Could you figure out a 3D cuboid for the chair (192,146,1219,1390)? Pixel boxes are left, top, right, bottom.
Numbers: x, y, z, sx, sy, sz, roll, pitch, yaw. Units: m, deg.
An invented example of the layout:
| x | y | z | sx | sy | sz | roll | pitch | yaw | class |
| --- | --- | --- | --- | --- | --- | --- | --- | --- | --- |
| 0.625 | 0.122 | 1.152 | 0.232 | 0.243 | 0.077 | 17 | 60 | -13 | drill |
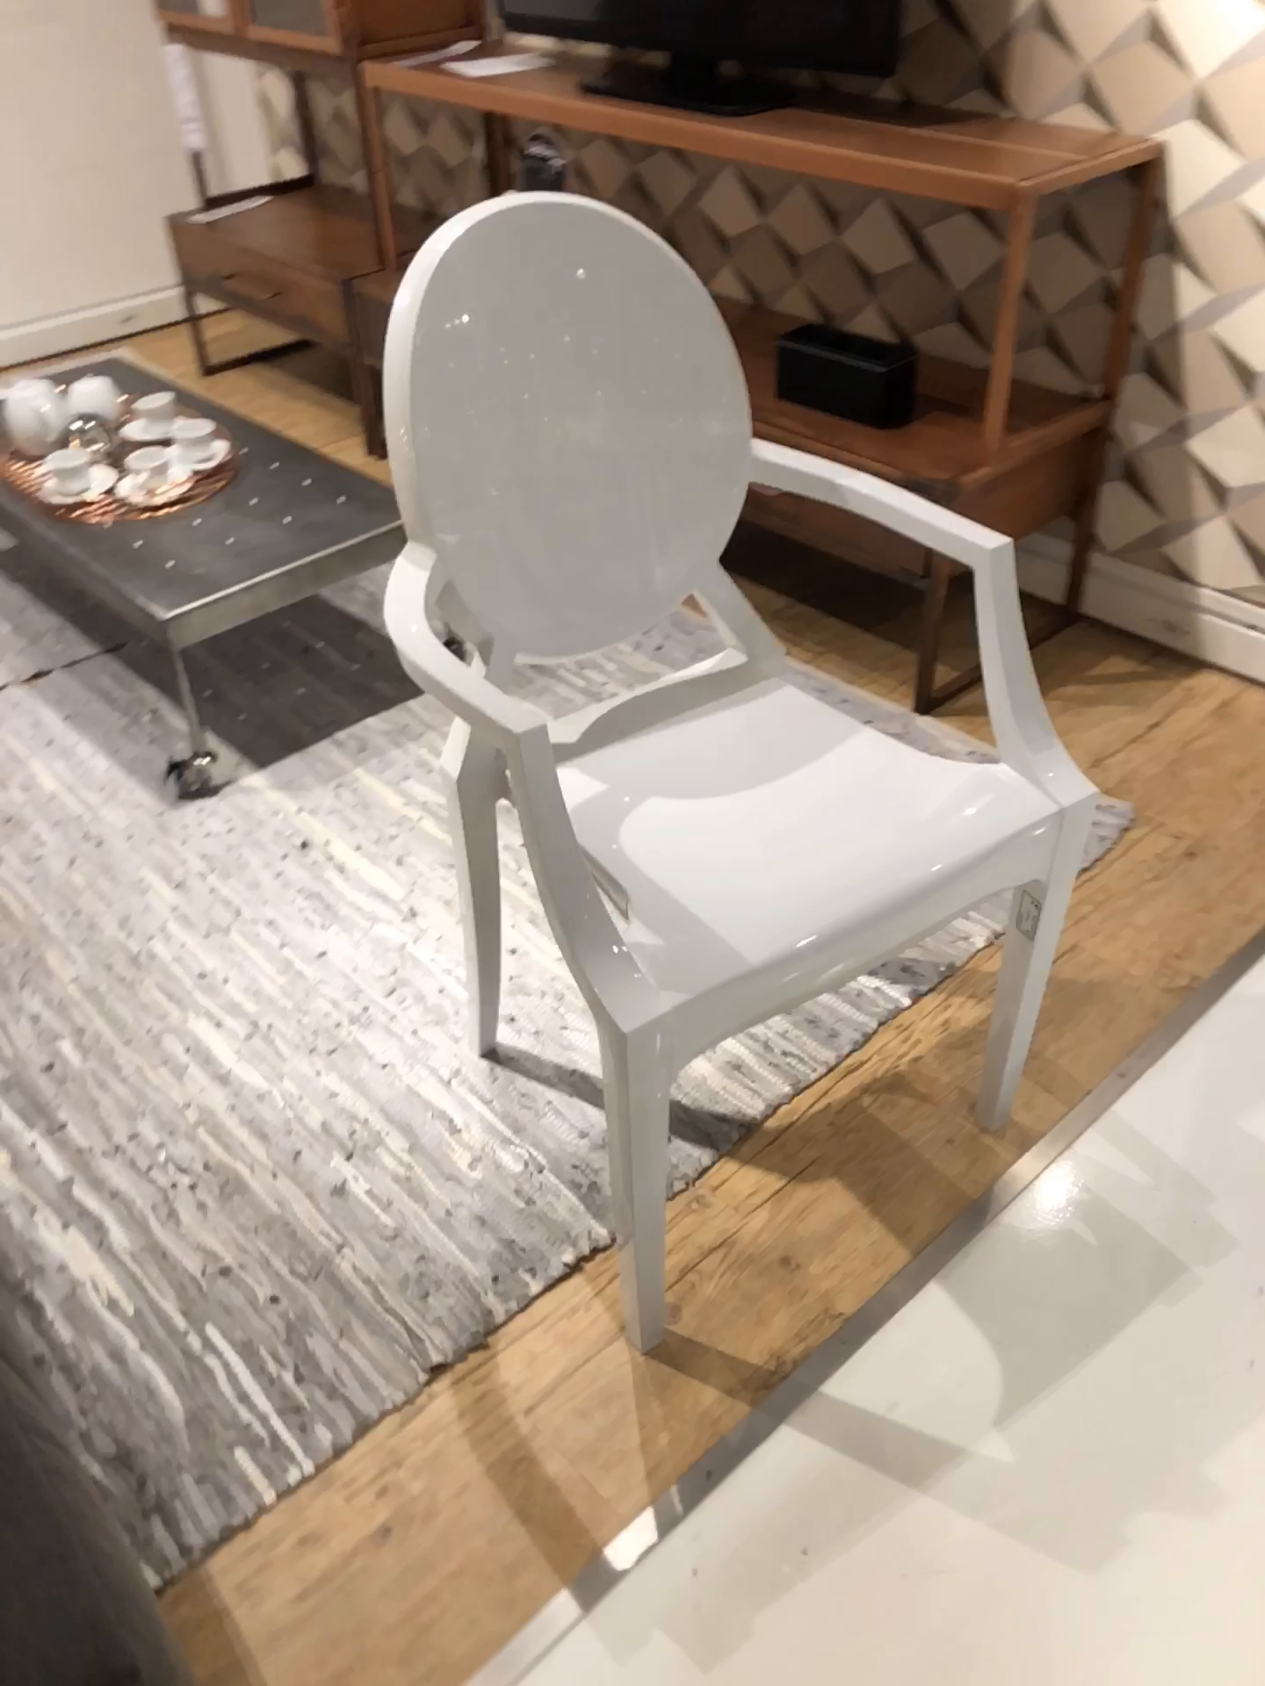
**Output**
| x | y | z | sx | sy | sz | roll | pitch | yaw | class |
| --- | --- | --- | --- | --- | --- | --- | --- | --- | --- |
| 0.045 | -0.088 | 1.255 | 0.512 | 0.843 | 0.553 | -25 | 42 | -26 | chair |
